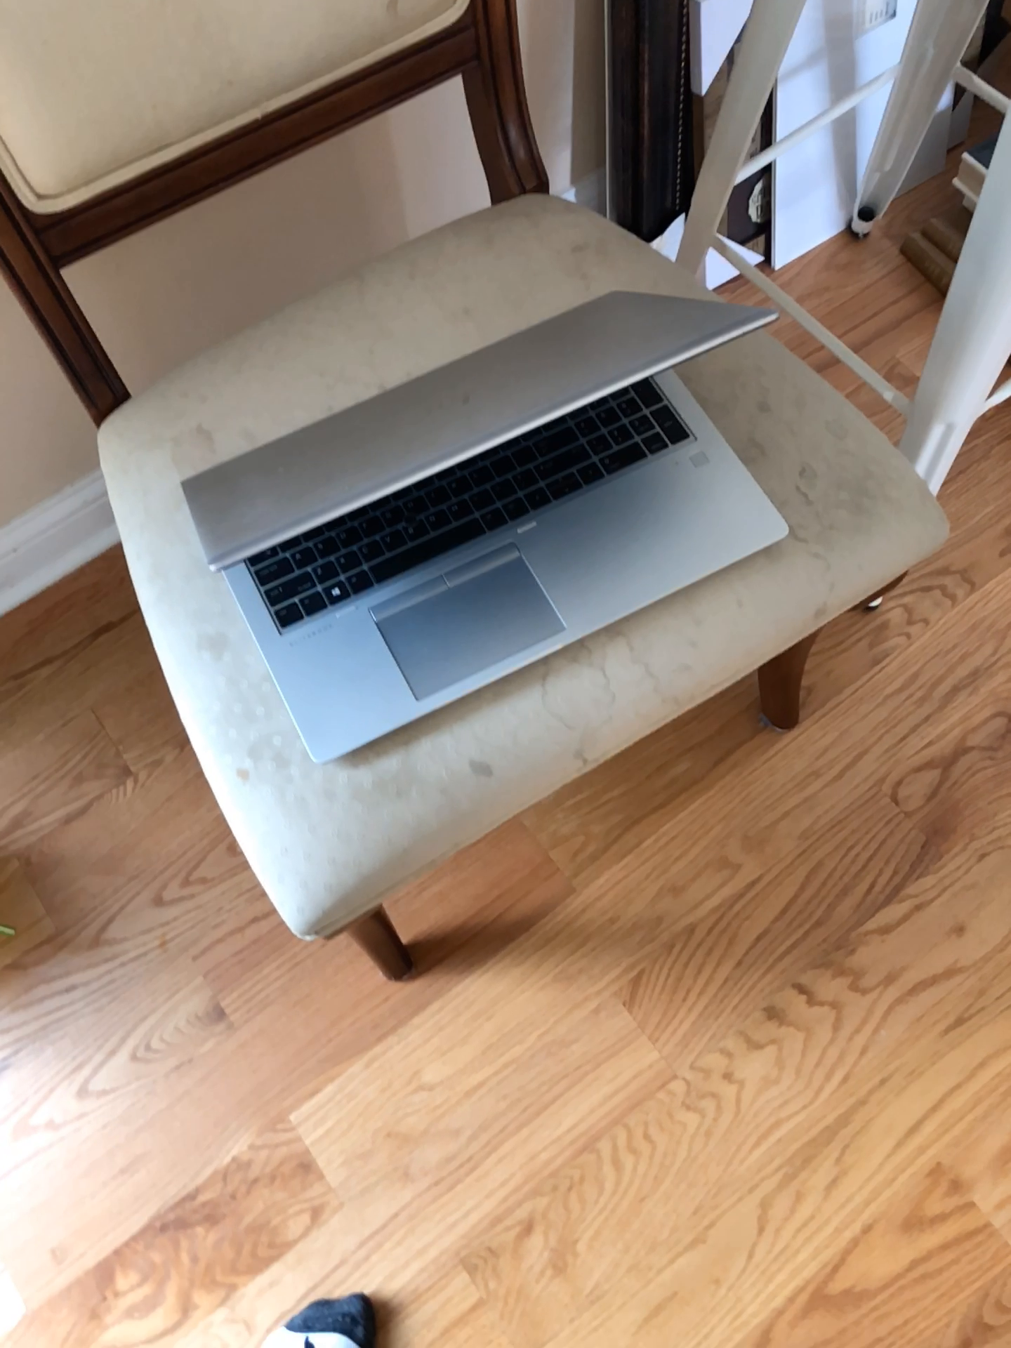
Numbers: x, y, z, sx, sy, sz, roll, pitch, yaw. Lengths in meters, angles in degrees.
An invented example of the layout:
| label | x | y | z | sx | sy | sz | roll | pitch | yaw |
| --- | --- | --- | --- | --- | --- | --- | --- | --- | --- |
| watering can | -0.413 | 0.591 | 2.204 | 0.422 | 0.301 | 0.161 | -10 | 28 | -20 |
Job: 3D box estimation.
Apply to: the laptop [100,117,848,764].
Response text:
| label | x | y | z | sx | sy | sz | roll | pitch | yaw |
| --- | --- | --- | --- | --- | --- | --- | --- | --- | --- |
| laptop | -0.021 | -0.152 | 0.723 | 0.365 | 0.159 | 0.244 | -26 | 68 | -9 |
